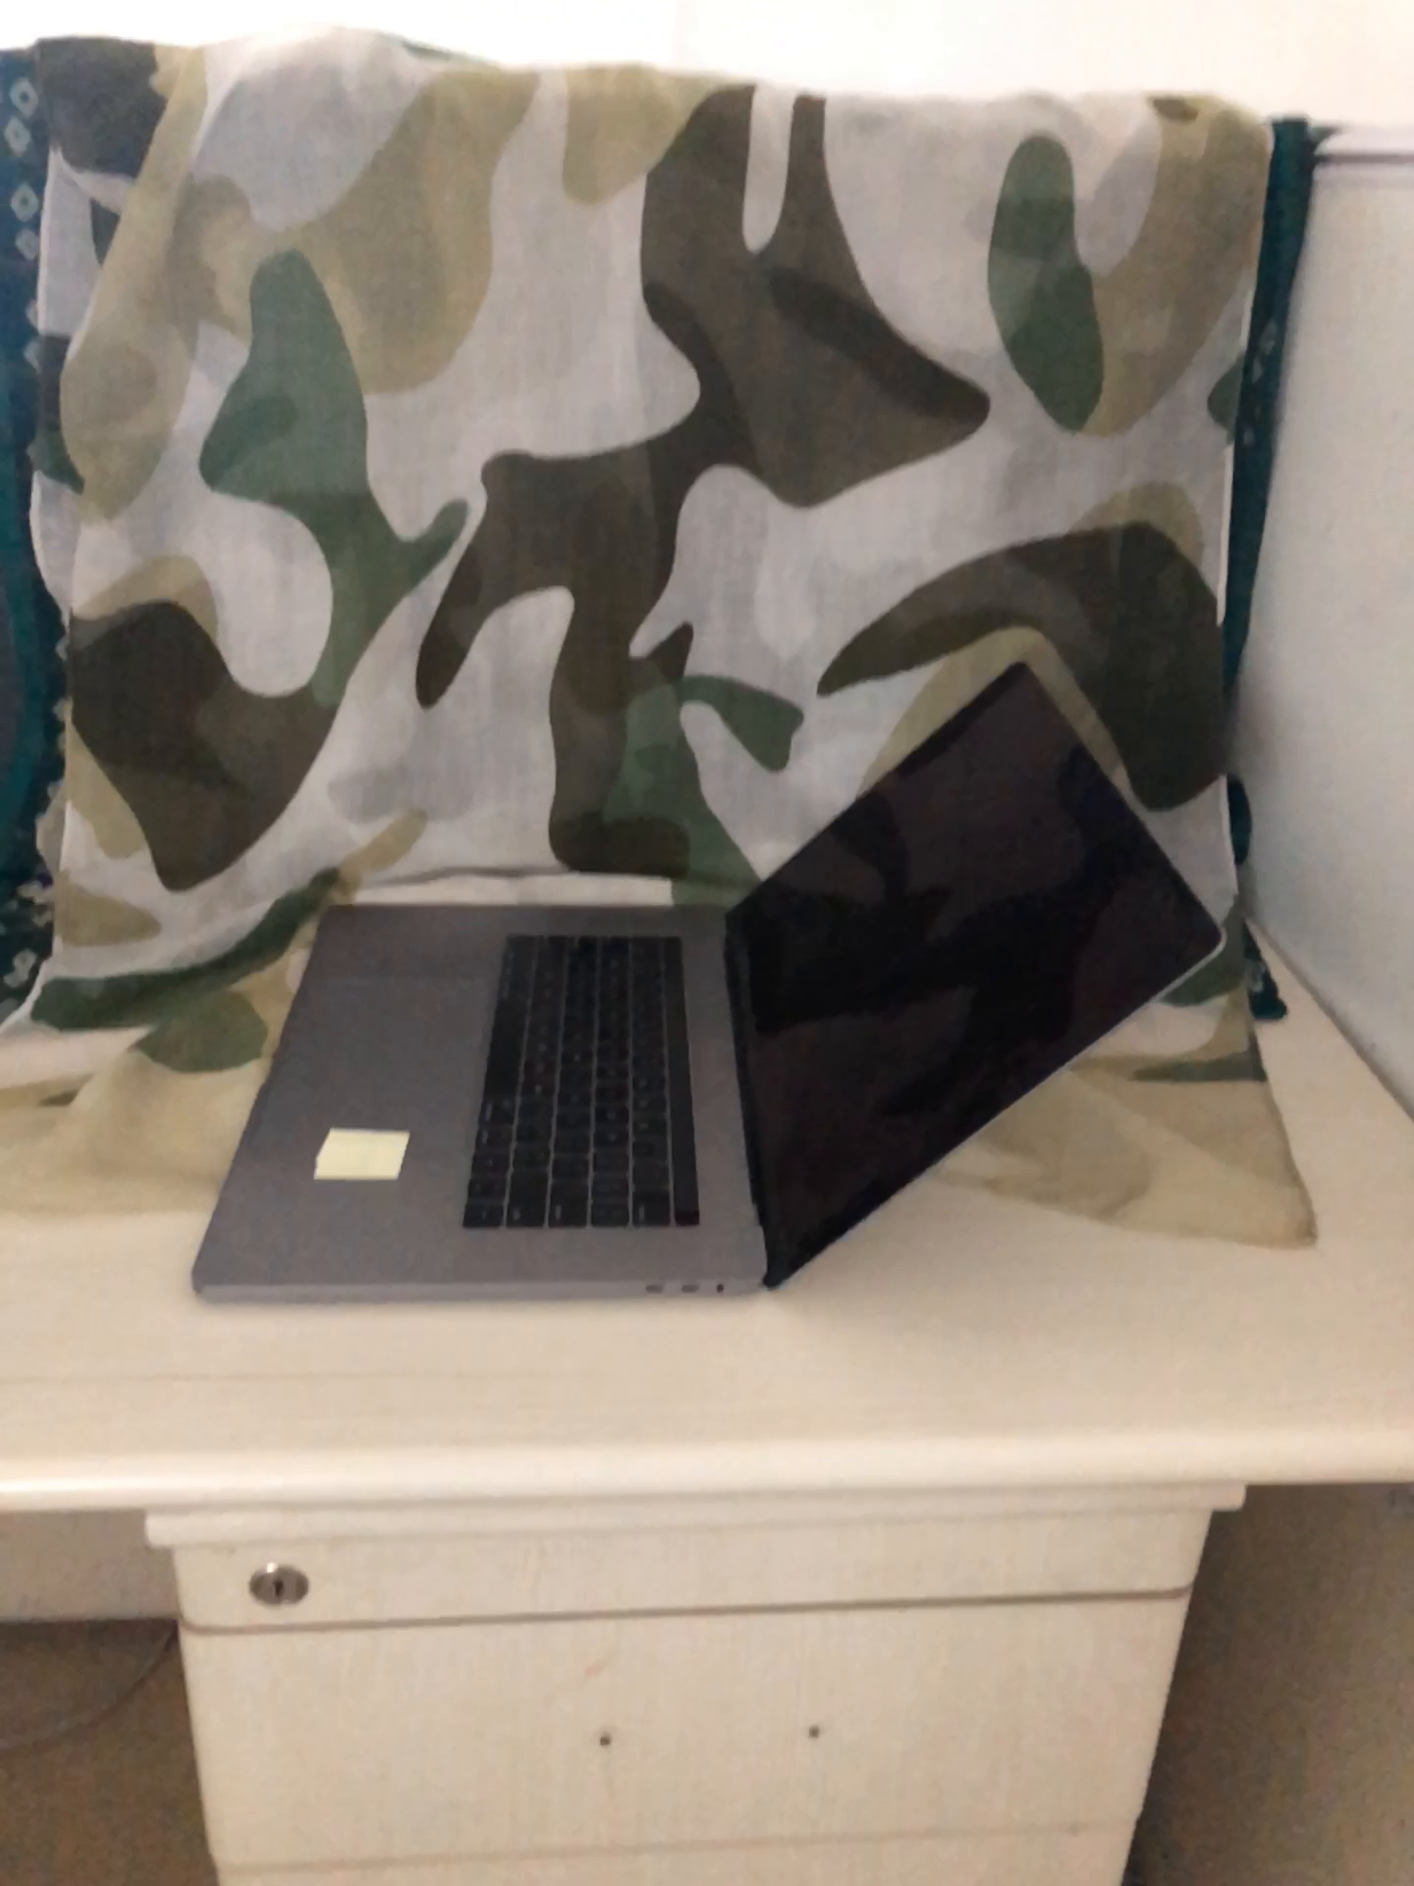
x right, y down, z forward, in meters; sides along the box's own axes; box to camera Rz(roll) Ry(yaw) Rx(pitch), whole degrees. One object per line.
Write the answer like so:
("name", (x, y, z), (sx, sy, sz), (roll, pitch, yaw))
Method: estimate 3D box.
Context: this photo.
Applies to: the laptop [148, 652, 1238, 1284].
("laptop", (-0.015, -0.011, 0.764), (0.402, 0.165, 0.343), (0, 27, -3))
